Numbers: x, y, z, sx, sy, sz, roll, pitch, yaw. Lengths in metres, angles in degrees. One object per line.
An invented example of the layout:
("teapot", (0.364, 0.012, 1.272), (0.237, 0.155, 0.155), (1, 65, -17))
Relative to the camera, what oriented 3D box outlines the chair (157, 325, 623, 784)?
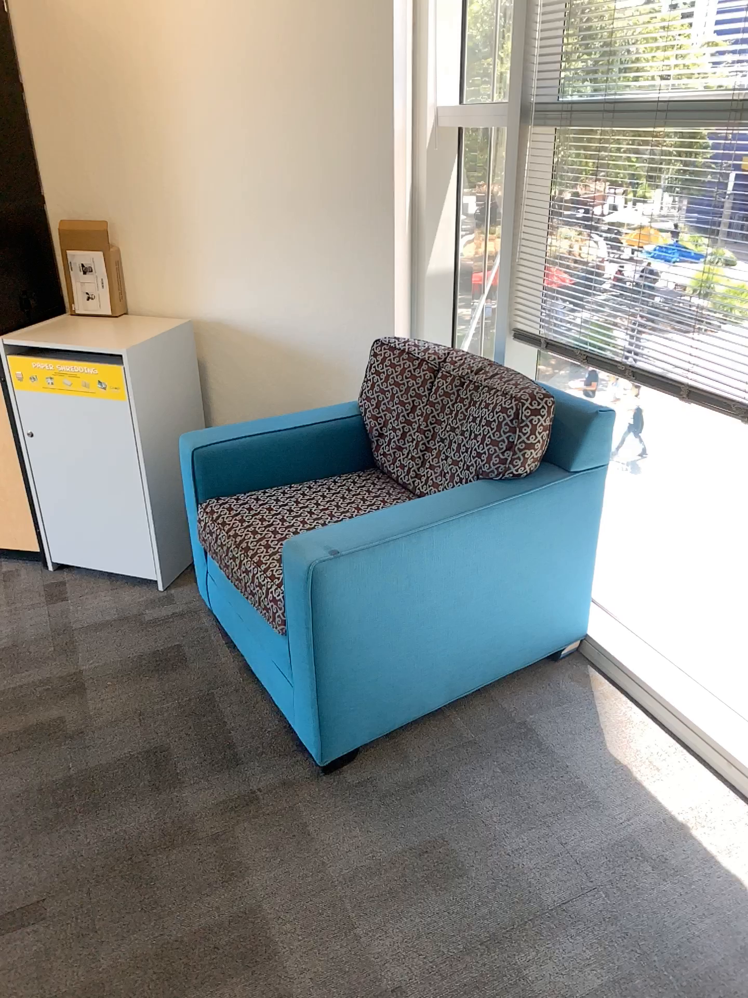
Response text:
("chair", (0.002, 0.043, 2.242), (0.910, 0.805, 0.935), (-15, 29, -27))
